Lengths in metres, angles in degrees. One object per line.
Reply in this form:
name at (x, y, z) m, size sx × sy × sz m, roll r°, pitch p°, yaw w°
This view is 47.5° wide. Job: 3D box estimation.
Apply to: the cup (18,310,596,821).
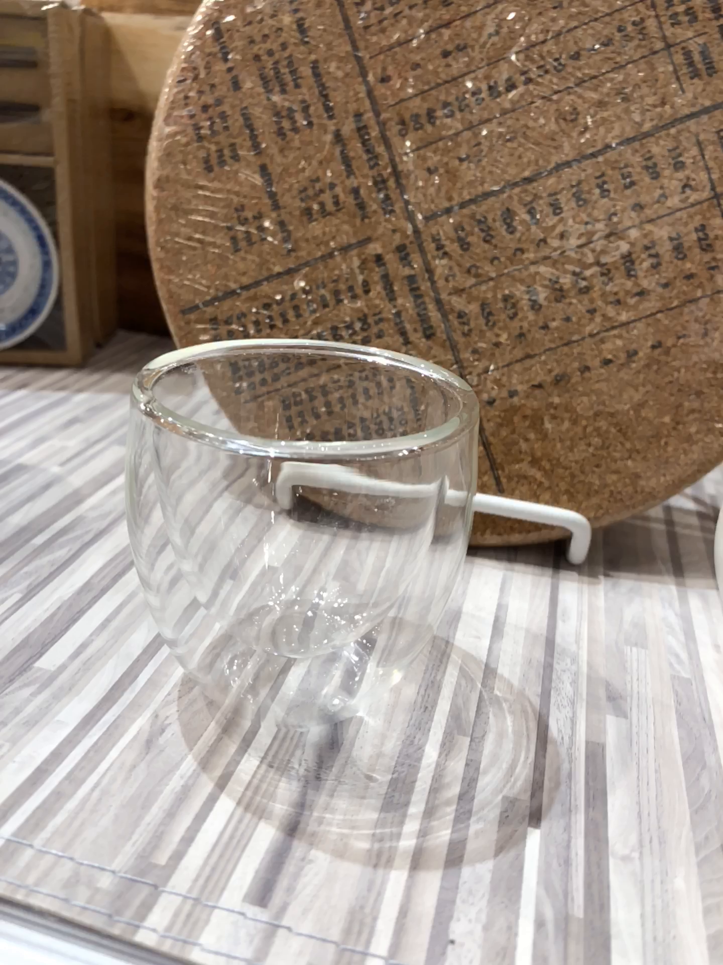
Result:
cup at (-0.011, 0.004, 0.150) m, size 0.070 × 0.050 × 0.070 m, roll 4°, pitch 24°, yaw -2°
